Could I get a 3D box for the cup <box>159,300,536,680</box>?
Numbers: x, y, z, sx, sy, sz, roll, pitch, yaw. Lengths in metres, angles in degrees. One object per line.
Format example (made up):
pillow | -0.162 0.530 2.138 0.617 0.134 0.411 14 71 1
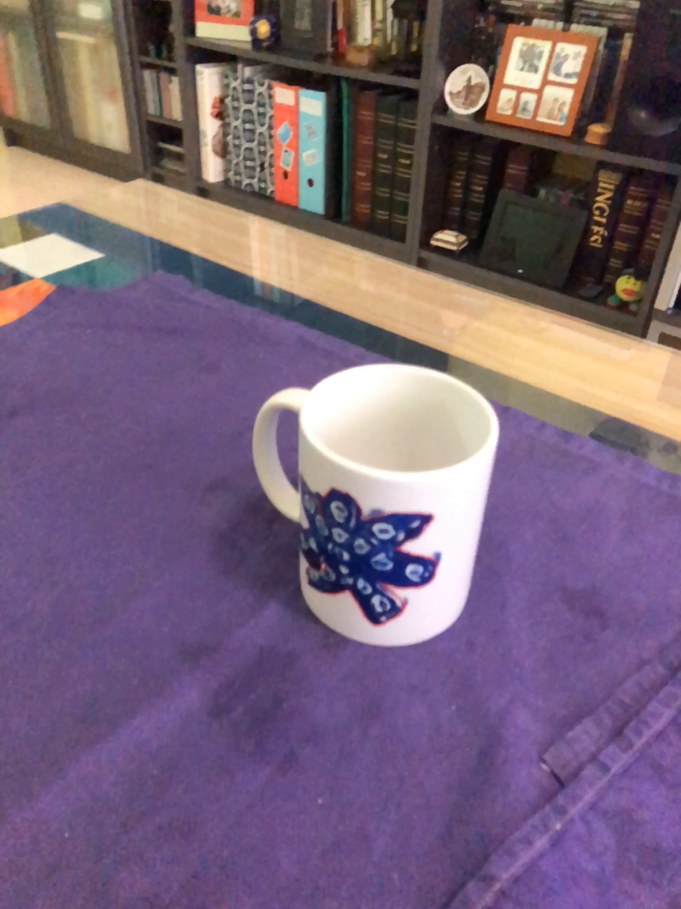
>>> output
cup | -0.001 0.007 0.323 0.130 0.090 0.080 30 45 33
